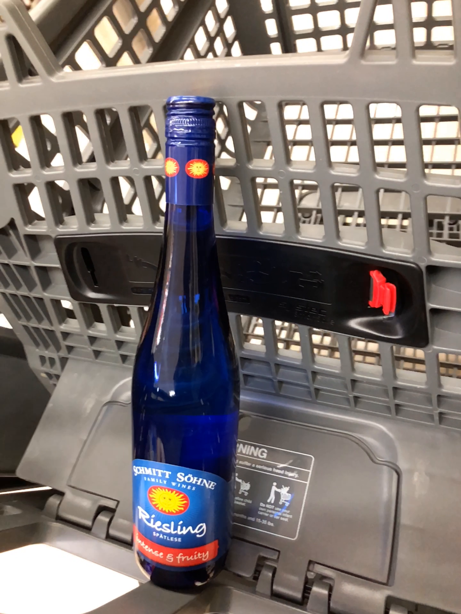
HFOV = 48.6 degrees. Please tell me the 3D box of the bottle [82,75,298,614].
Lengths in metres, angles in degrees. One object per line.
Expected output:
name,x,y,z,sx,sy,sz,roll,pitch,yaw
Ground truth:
bottle,-0.024,0.035,0.360,0.100,0.100,0.350,7,107,18
